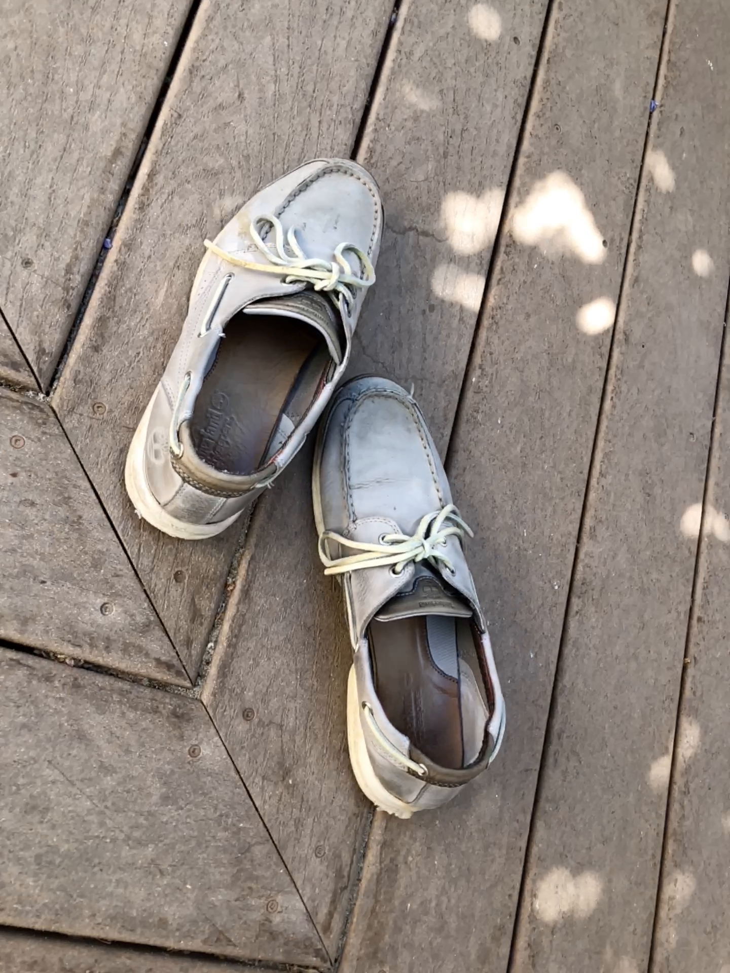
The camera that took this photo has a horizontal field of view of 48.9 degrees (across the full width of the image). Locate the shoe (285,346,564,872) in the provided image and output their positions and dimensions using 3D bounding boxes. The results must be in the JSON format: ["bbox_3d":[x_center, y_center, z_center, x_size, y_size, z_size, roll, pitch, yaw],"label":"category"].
[{"bbox_3d":[0.034,0.074,0.553,0.120,0.109,0.310,-1,81,-29],"label":"shoe"}]

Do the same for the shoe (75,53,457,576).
[{"bbox_3d":[-0.058,-0.112,0.533,0.117,0.099,0.314,29,68,-21],"label":"shoe"}]
